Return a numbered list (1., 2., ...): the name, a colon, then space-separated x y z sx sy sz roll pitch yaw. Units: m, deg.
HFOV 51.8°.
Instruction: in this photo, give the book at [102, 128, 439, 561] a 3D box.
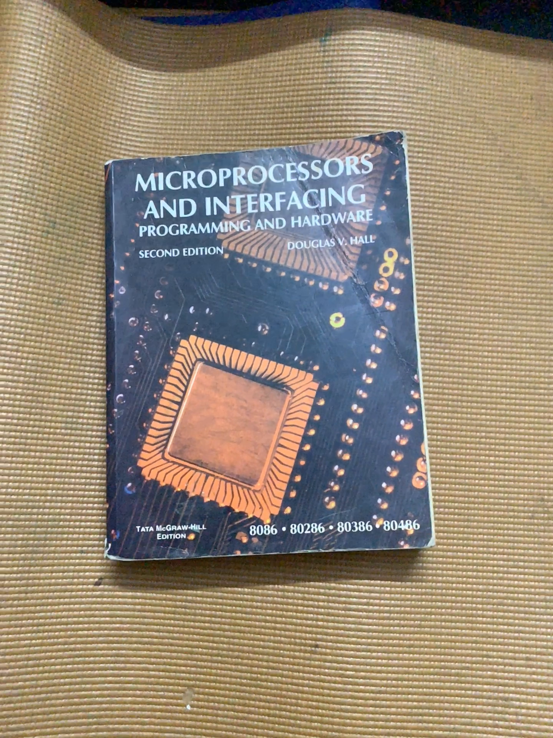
1. book: -0.011 -0.019 0.486 0.259 0.060 0.339 -3 83 6
